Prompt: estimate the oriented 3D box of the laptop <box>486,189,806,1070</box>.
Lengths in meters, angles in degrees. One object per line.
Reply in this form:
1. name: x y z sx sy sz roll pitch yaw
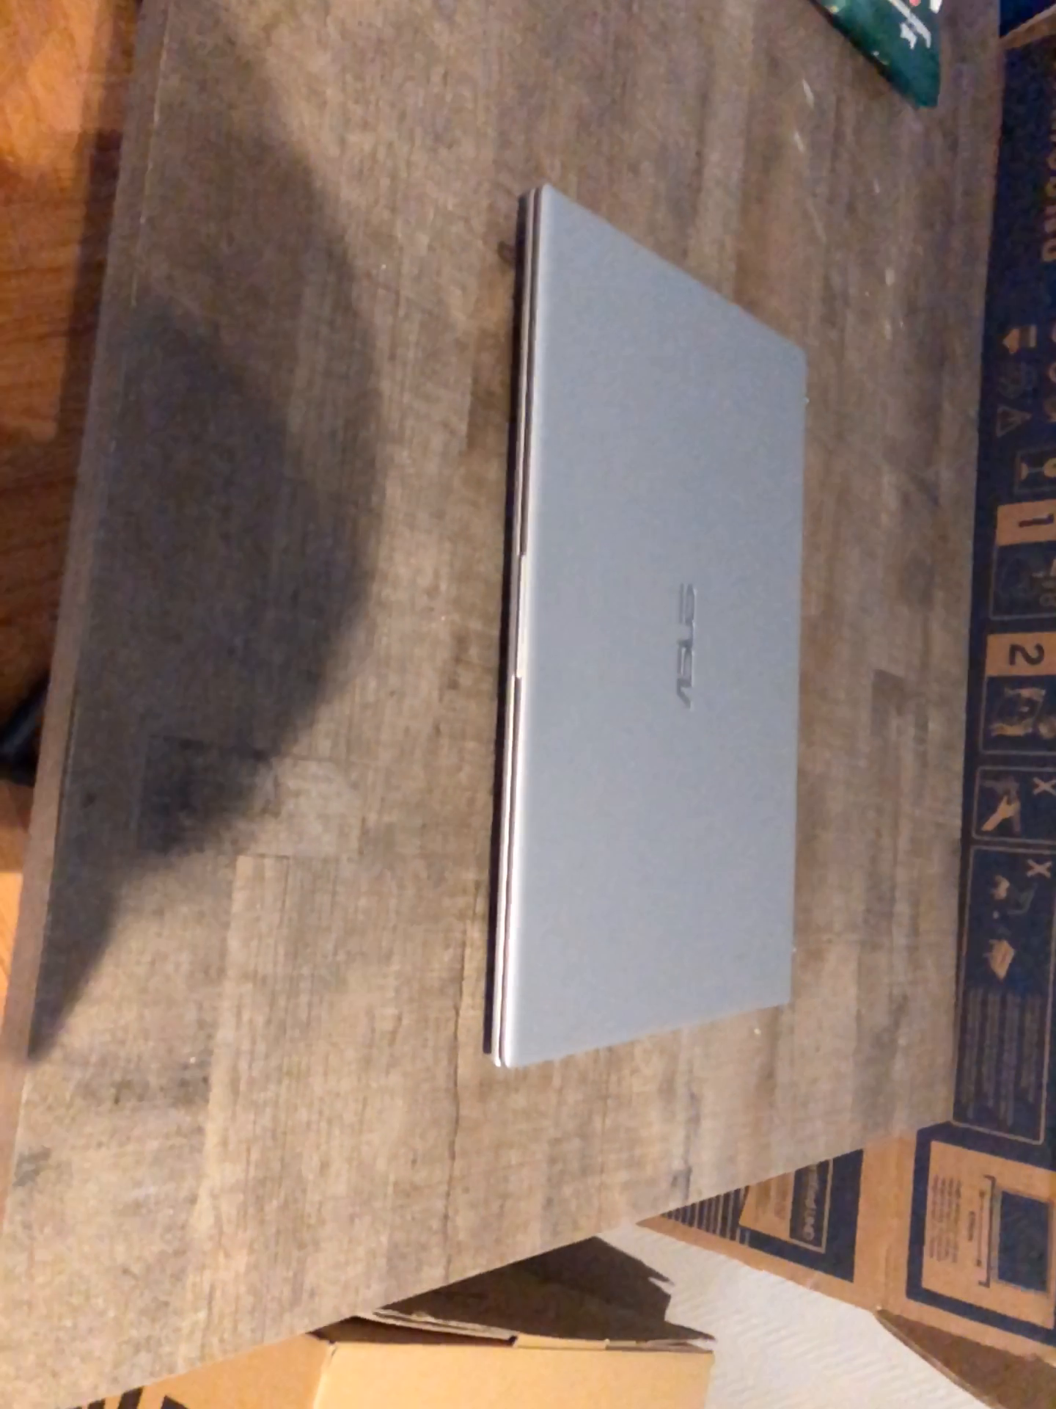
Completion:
1. laptop: 0.069 -0.025 0.552 0.229 0.013 0.353 6 85 -49
